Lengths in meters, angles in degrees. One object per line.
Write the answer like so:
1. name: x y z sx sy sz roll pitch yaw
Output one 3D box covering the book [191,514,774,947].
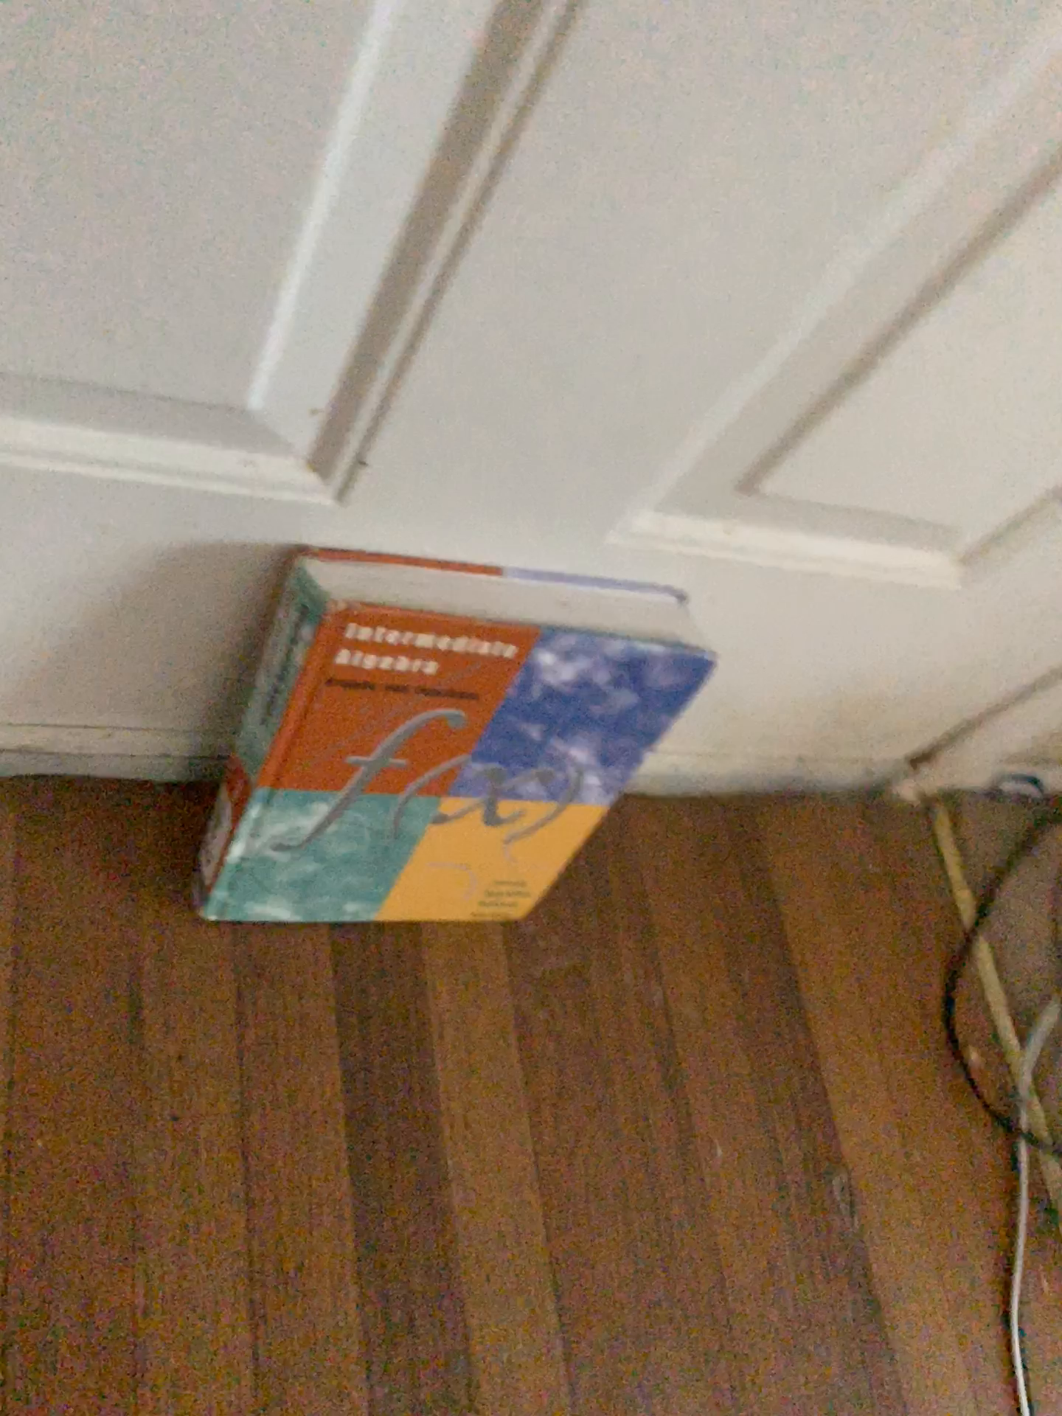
1. book: -0.040 0.033 0.575 0.230 0.249 0.060 6 46 -23
